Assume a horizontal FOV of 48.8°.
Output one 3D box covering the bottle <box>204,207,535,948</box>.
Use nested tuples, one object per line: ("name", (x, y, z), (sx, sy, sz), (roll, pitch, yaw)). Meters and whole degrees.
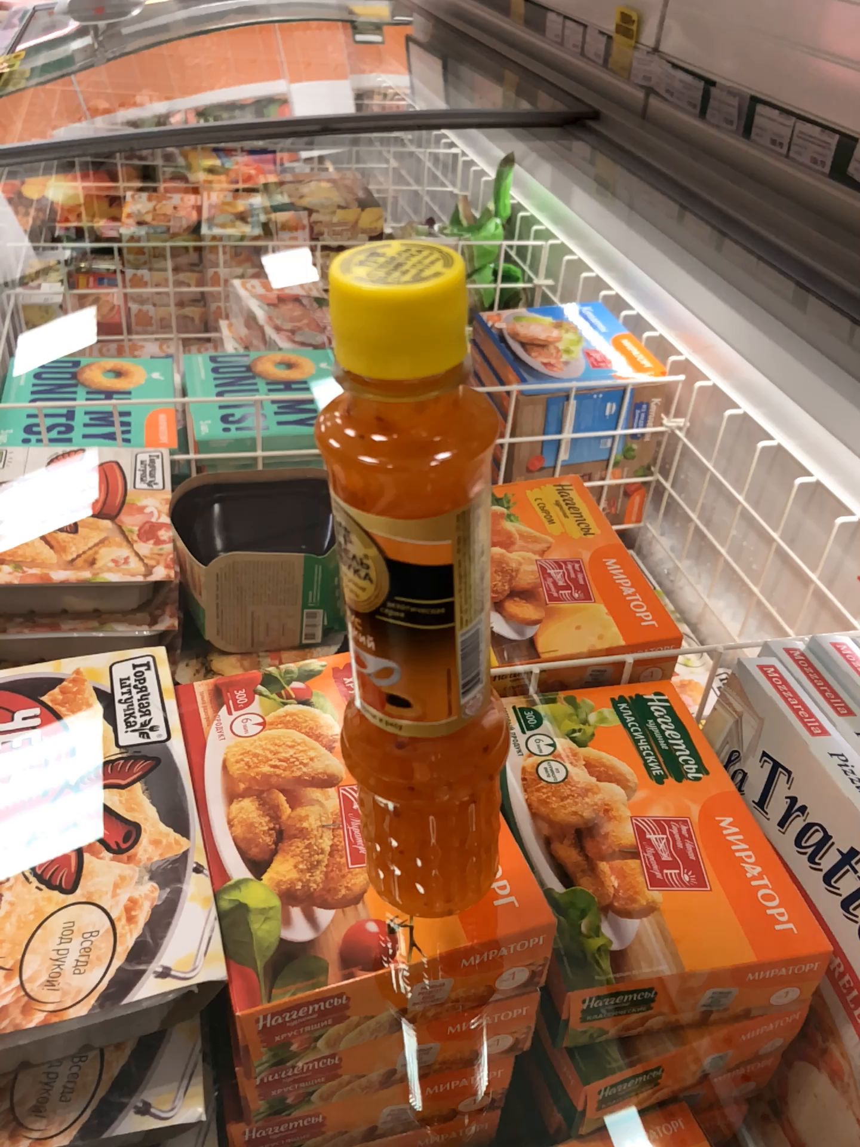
("bottle", (-0.011, 0.014, 0.259), (0.049, 0.201, 0.051), (-1, 37, 1))
